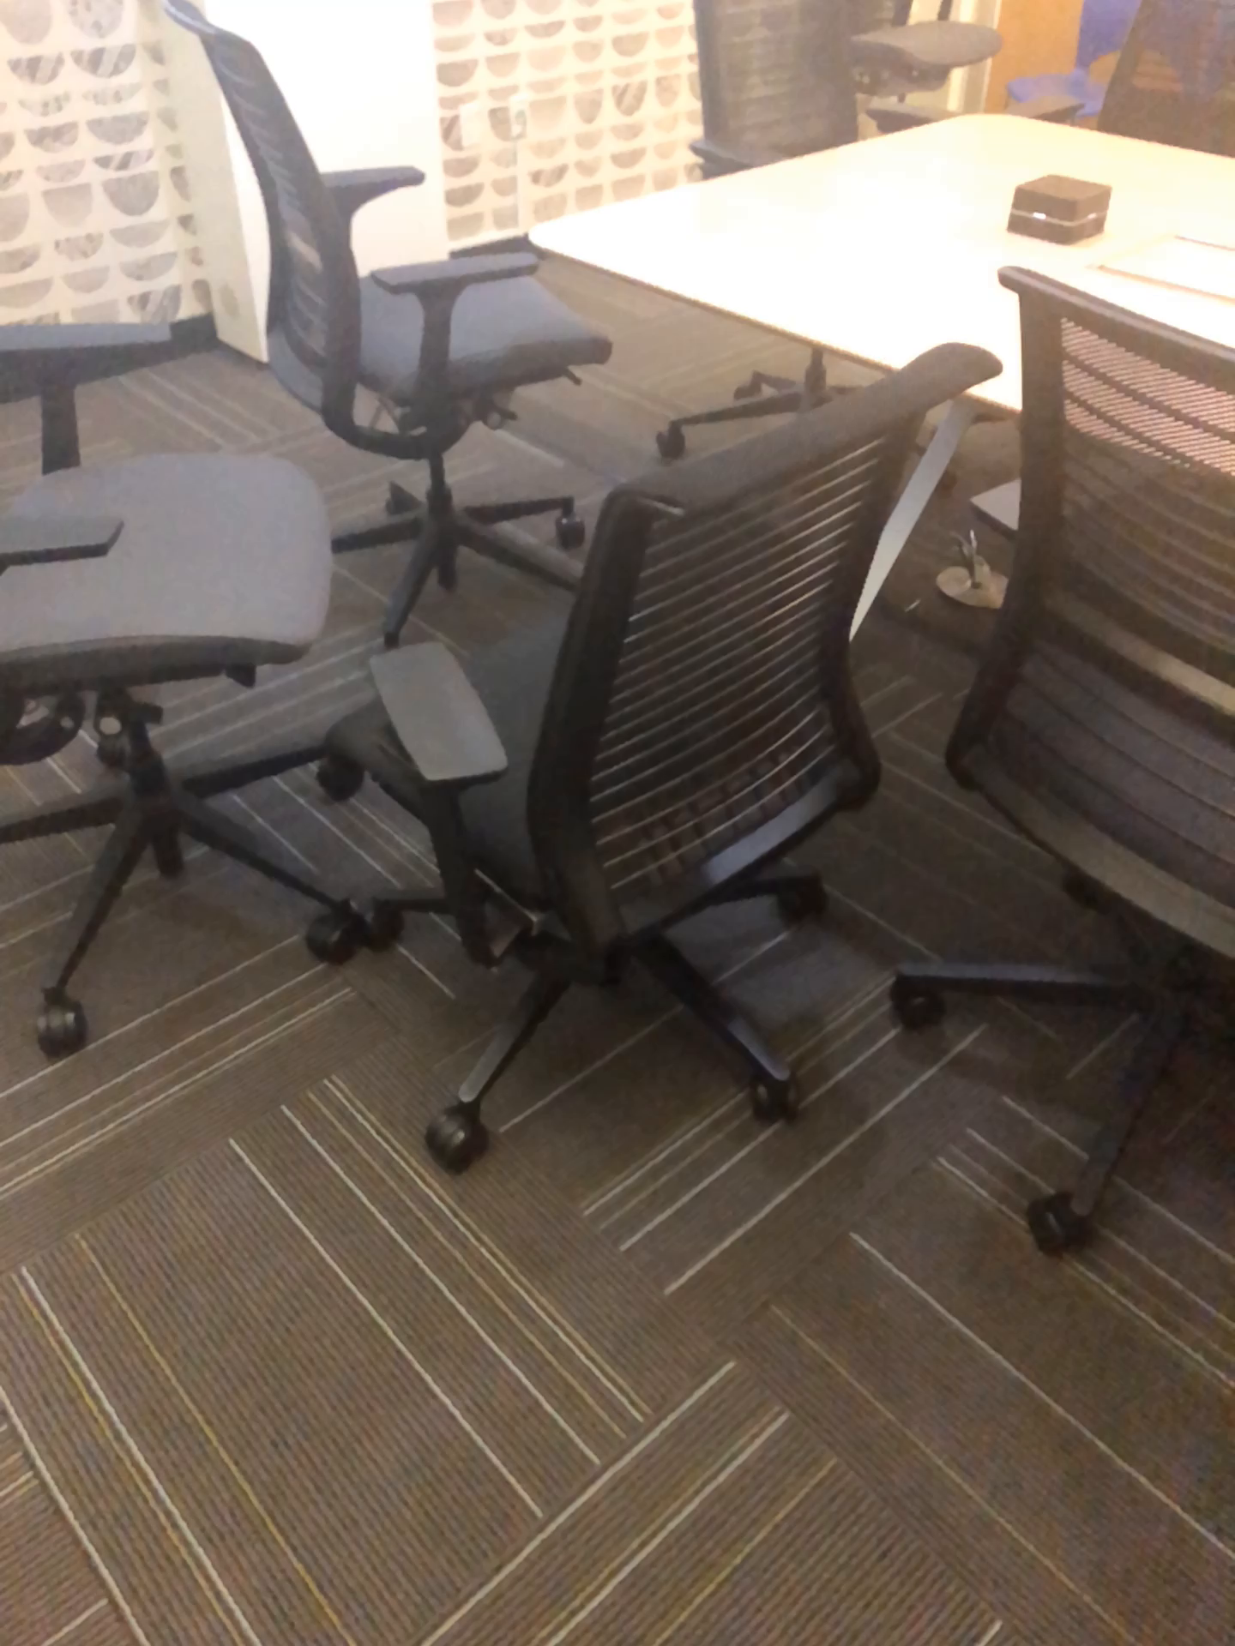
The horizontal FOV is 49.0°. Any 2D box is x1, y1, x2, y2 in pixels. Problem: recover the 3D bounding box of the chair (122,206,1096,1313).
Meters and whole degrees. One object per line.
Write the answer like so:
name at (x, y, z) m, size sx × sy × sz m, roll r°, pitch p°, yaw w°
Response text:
chair at (-0.011, -0.131, 1.718) m, size 0.724 × 0.991 × 0.732 m, roll -29°, pitch 45°, yaw -33°
